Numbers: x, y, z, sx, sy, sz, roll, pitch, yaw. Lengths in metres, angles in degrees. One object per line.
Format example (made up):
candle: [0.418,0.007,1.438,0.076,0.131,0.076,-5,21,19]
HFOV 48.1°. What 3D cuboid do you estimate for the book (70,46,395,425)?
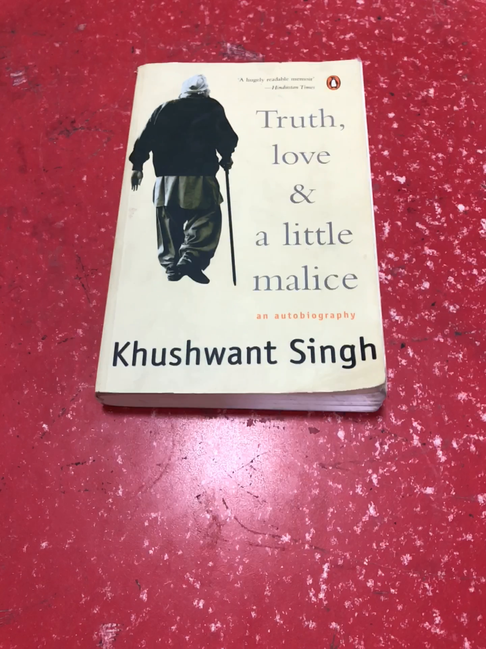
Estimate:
book: [-0.001,-0.056,0.294,0.140,0.040,0.210,1,67,4]
